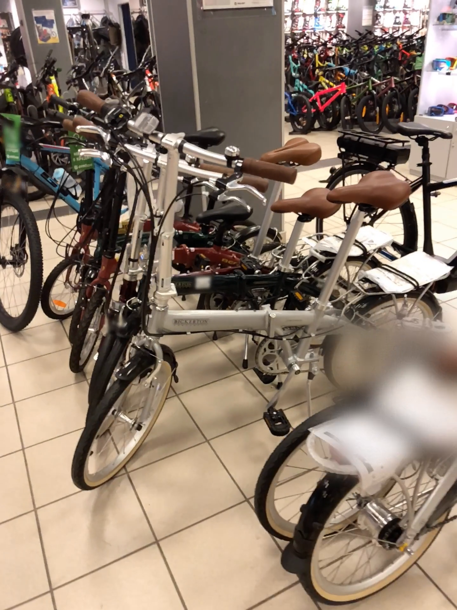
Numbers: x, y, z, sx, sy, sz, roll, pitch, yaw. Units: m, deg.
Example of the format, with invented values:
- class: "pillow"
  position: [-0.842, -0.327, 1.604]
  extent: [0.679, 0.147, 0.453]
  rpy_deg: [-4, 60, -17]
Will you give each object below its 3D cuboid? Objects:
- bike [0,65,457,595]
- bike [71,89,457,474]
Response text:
- class: "bike"
  position: [0.178, -0.042, 1.488]
  extent: [1.360, 1.153, 0.555]
  rpy_deg: [-14, 29, -22]
- class: "bike"
  position: [0.174, -0.162, 1.870]
  extent: [1.141, 1.037, 0.558]
  rpy_deg: [-18, 31, -24]
